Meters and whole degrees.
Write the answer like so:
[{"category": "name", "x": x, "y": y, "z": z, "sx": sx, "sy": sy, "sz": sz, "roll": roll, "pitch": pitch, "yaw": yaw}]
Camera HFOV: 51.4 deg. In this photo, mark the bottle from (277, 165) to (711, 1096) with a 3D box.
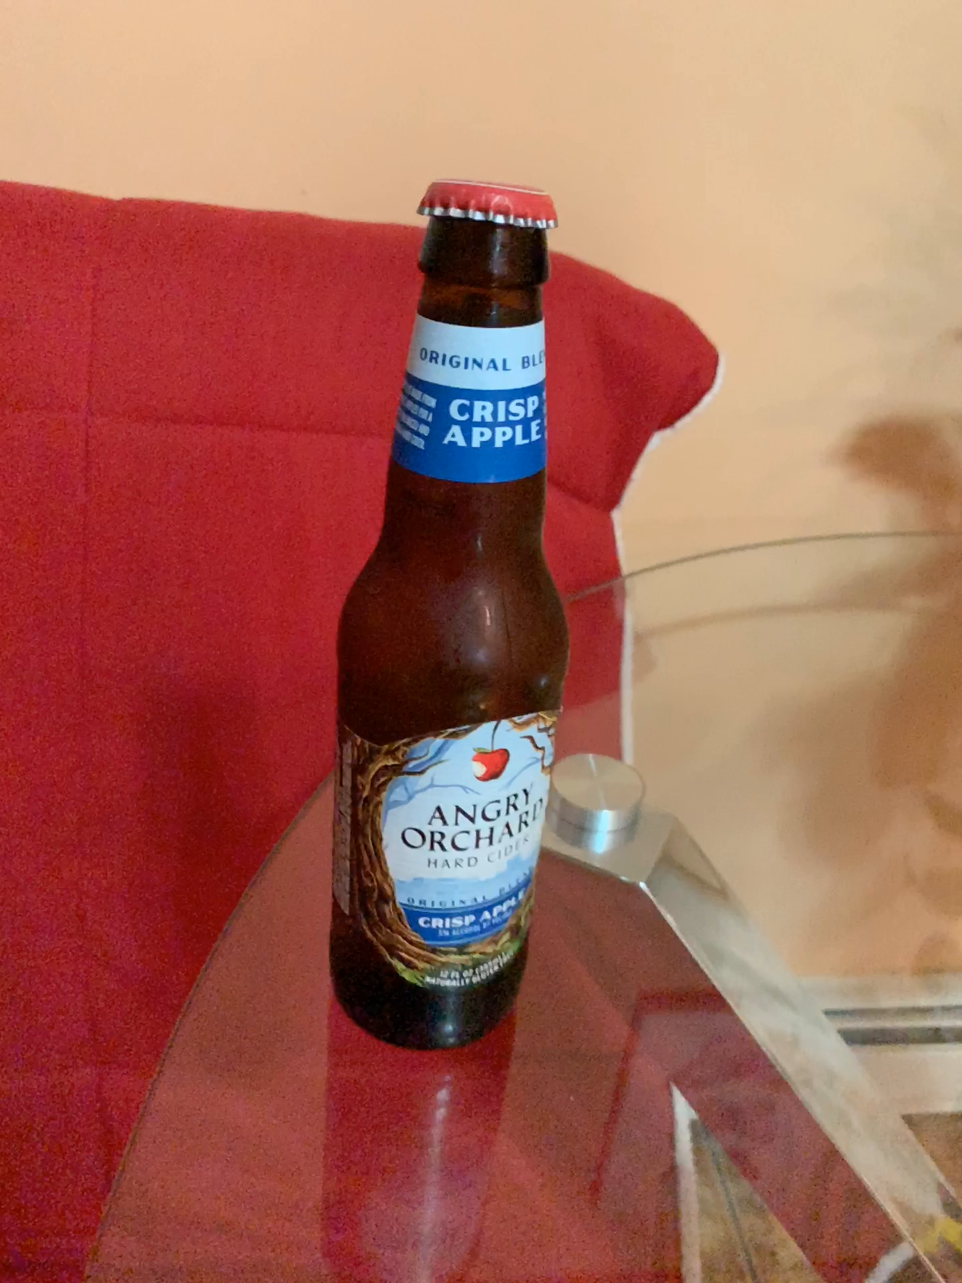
[{"category": "bottle", "x": -0.010, "y": 0.004, "z": 0.270, "sx": 0.070, "sy": 0.231, "sz": 0.070, "roll": 5, "pitch": 26, "yaw": -3}]
